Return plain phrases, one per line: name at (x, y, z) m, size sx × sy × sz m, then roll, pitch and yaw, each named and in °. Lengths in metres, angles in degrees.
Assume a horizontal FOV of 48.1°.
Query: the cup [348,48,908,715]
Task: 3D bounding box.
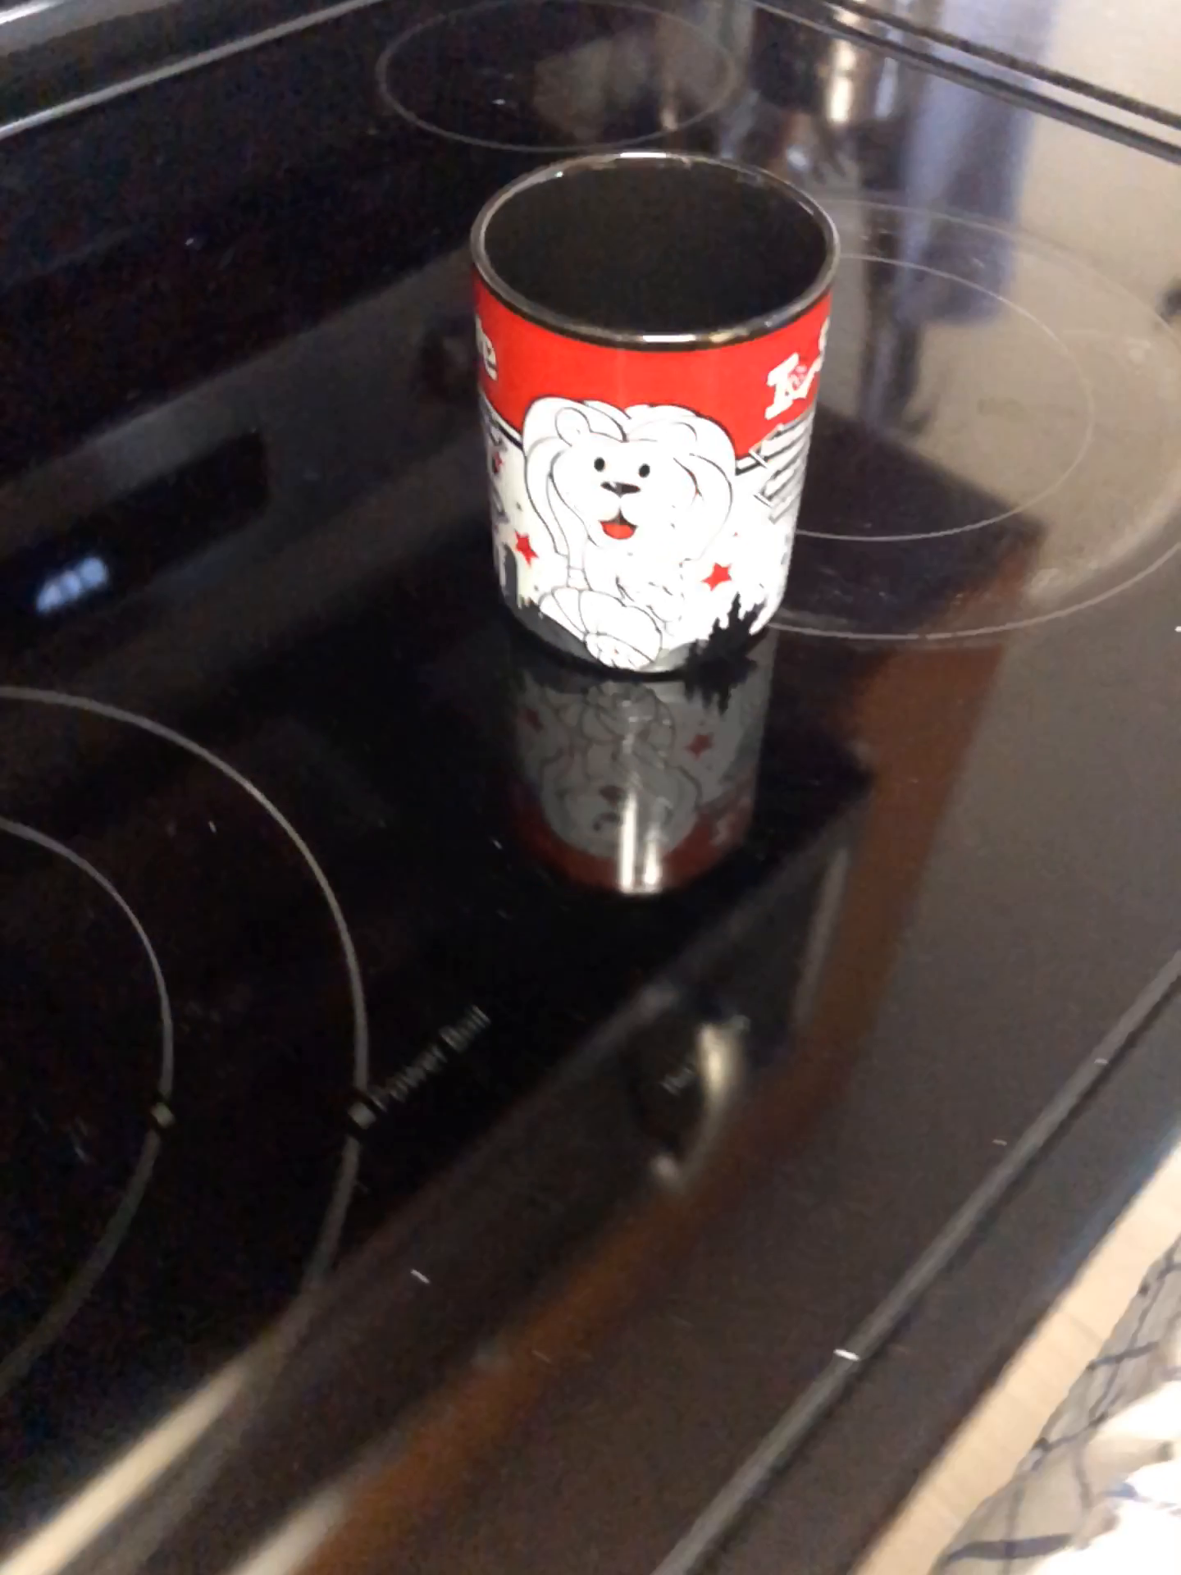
cup at (0.015, -0.104, 0.327) m, size 0.090 × 0.090 × 0.130 m, roll 14°, pitch 51°, yaw 11°
